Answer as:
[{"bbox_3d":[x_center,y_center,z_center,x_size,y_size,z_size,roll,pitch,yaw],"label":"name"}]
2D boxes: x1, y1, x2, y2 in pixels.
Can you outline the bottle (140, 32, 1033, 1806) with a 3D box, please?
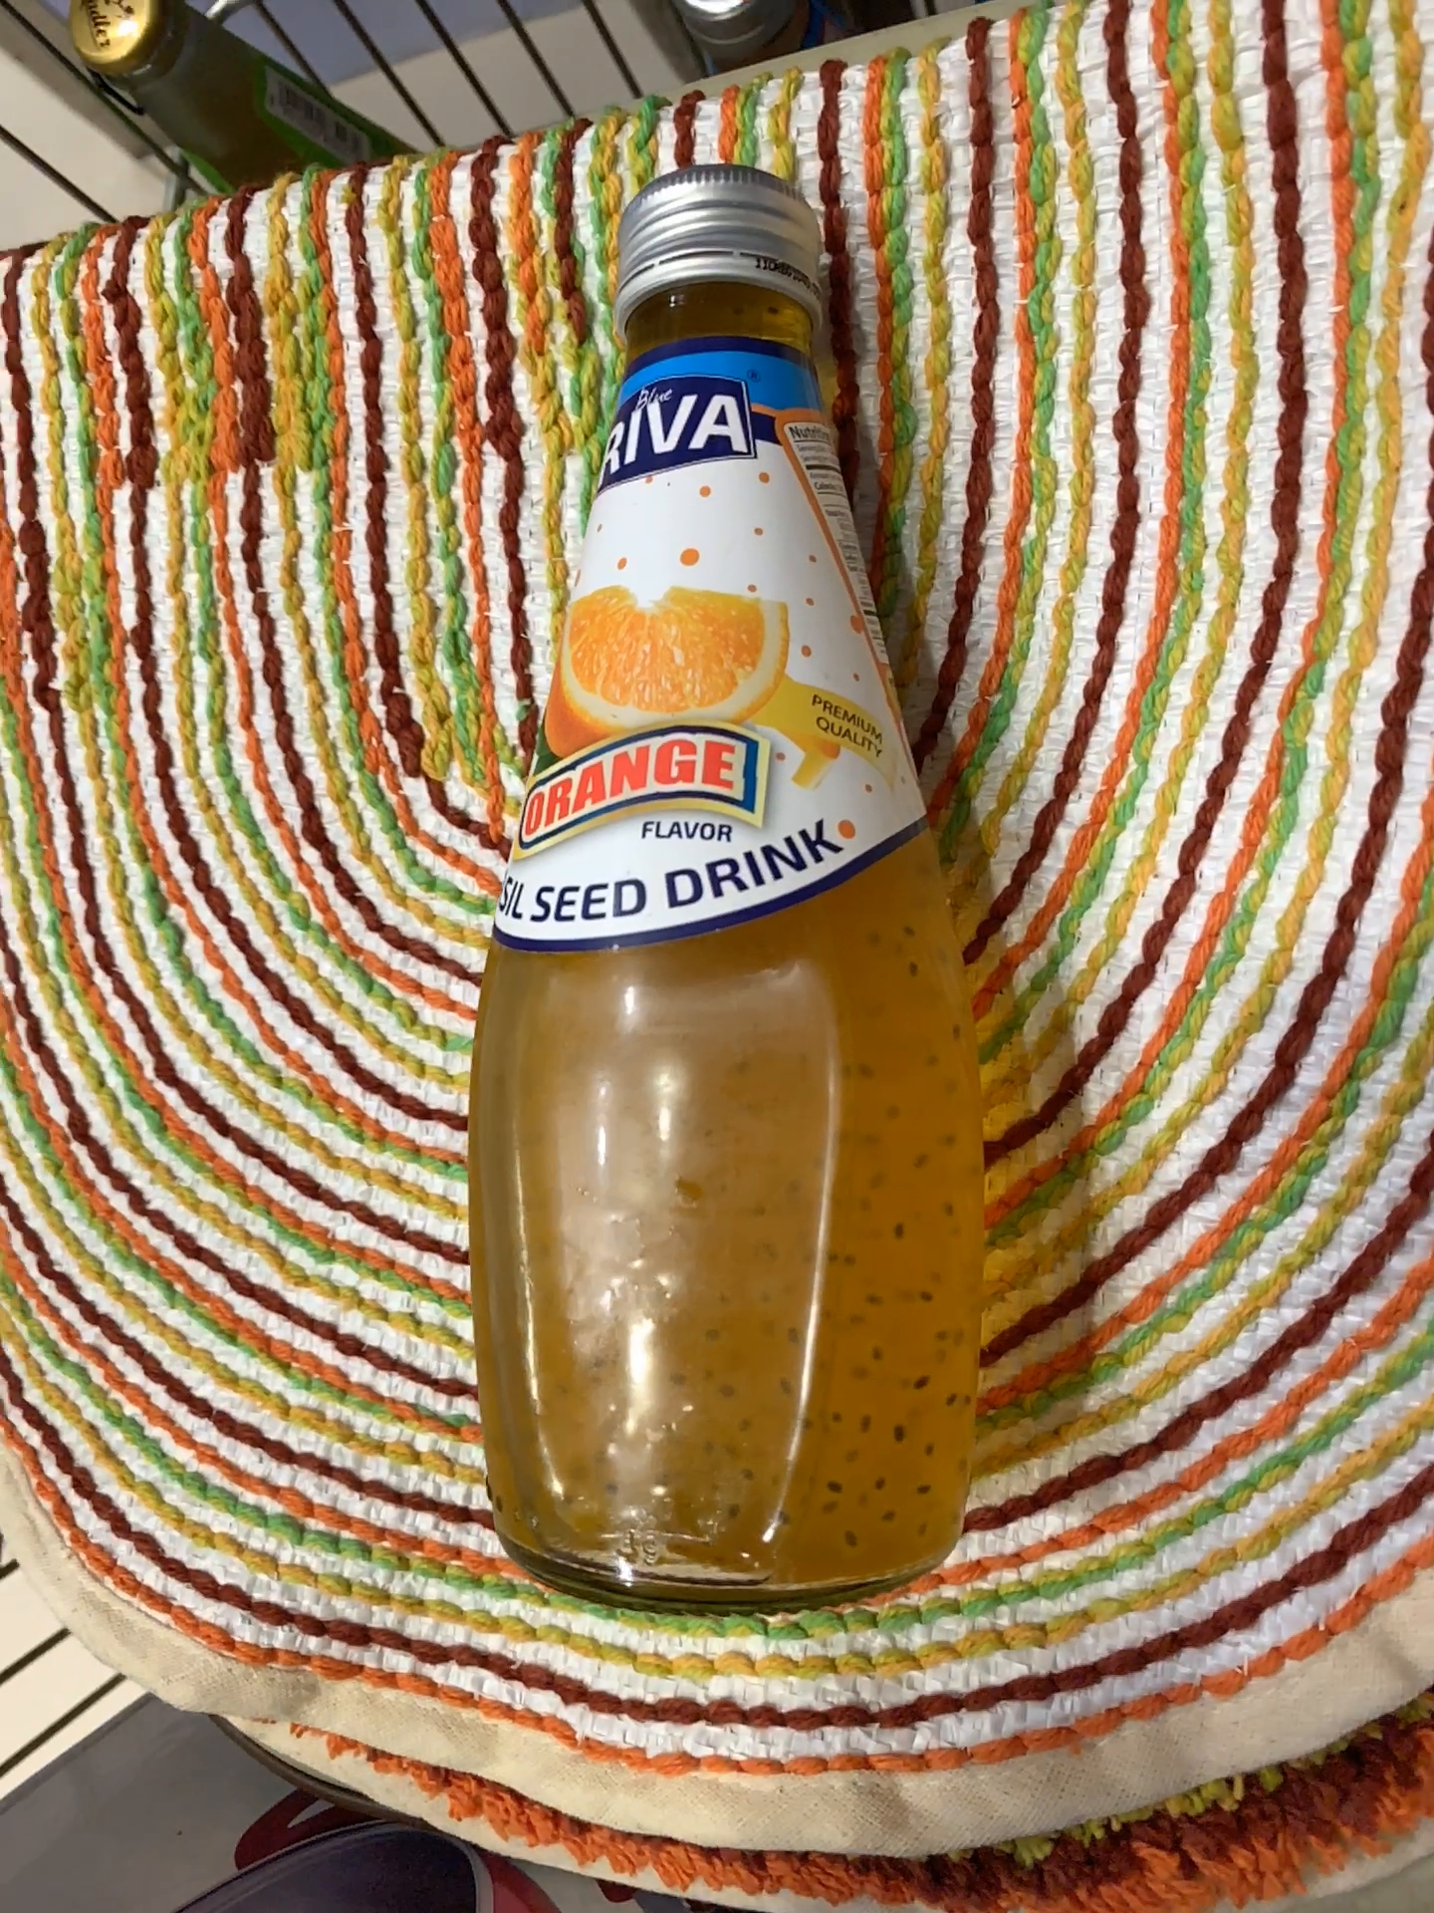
[{"bbox_3d":[-0.009,0.000,0.169,0.070,0.050,0.160,-3,98,22],"label":"bottle"}]
